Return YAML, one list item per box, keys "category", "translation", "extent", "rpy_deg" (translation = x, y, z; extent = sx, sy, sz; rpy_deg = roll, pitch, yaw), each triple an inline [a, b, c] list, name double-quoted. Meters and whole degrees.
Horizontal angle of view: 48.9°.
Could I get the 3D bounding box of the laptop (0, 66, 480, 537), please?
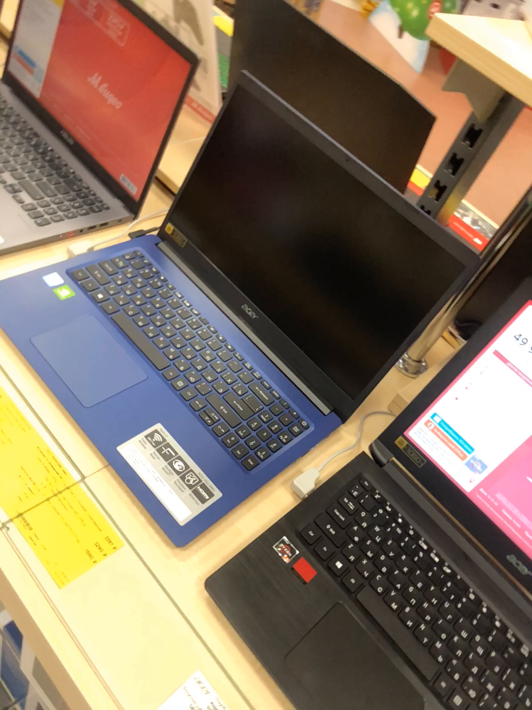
- category: "laptop"
  translation: [-0.057, -0.091, 0.612]
  extent: [0.328, 0.221, 0.358]
  rpy_deg: [-28, 65, -39]
